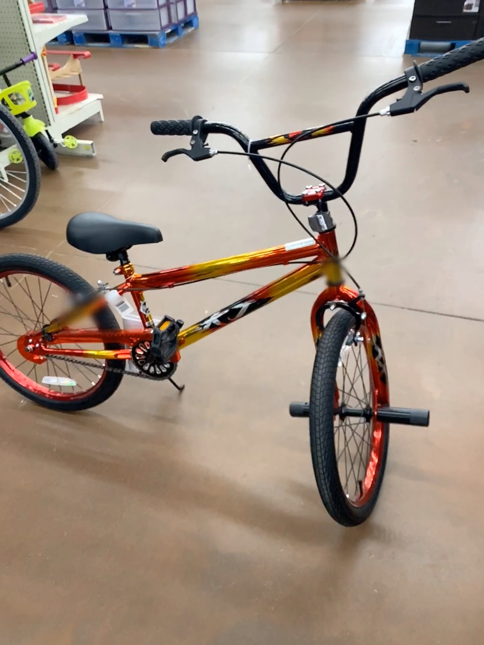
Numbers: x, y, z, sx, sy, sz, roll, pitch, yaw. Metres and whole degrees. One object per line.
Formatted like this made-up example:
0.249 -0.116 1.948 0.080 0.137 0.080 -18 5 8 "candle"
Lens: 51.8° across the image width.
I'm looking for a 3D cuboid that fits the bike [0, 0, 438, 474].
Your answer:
-0.204 -0.211 1.234 1.122 0.925 0.707 3 40 8 "bike"
